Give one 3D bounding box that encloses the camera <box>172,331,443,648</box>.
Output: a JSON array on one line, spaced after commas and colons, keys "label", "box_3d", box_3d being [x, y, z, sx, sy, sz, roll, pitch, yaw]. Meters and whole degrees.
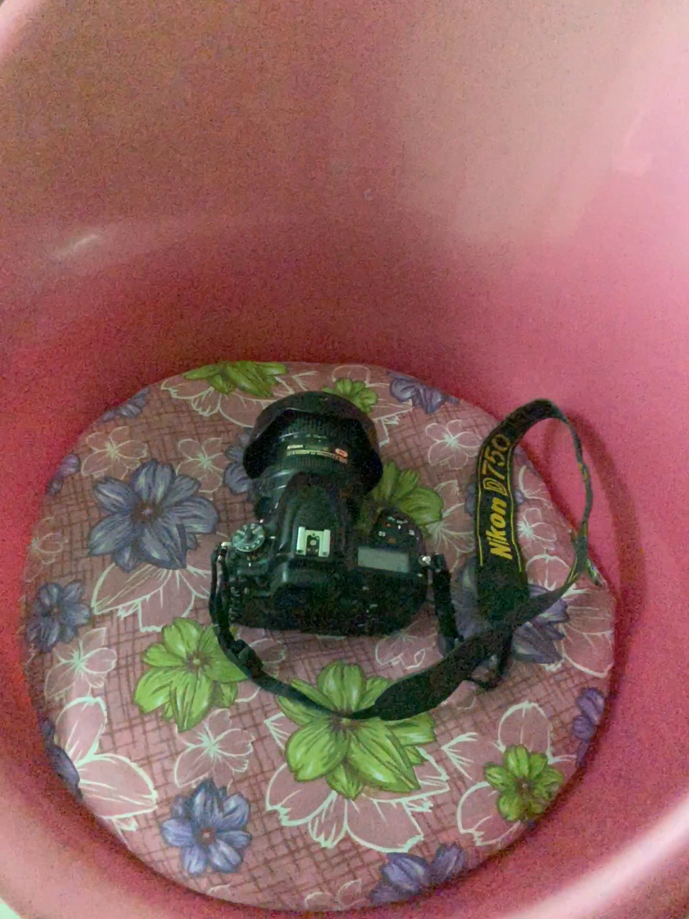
[{"label": "camera", "box_3d": [-0.020, 0.023, 0.536, 0.166, 0.130, 0.192, 4, 57, 0]}]
